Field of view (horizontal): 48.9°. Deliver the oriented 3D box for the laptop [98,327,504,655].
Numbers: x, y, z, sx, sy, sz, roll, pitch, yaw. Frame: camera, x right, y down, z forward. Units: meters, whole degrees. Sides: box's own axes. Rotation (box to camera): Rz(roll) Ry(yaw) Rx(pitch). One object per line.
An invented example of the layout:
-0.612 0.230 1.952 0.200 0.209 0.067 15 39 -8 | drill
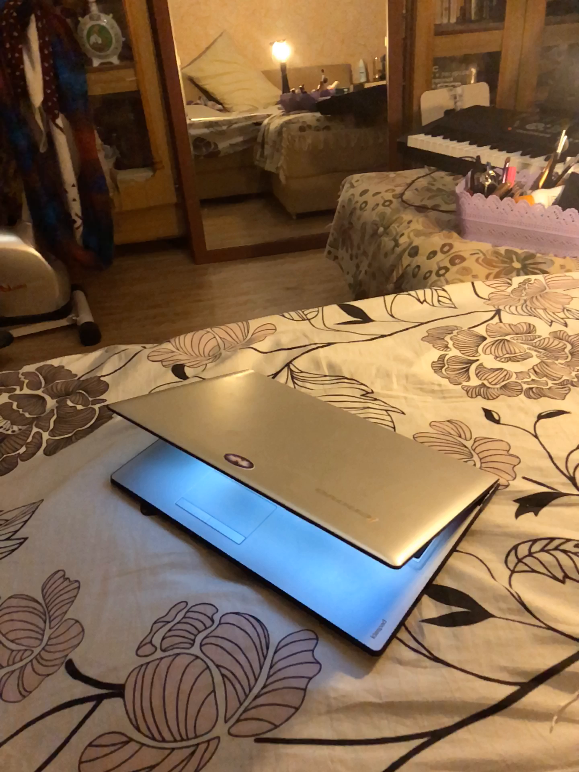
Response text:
0.007 0.075 0.720 0.381 0.082 0.257 22 43 34 | laptop
